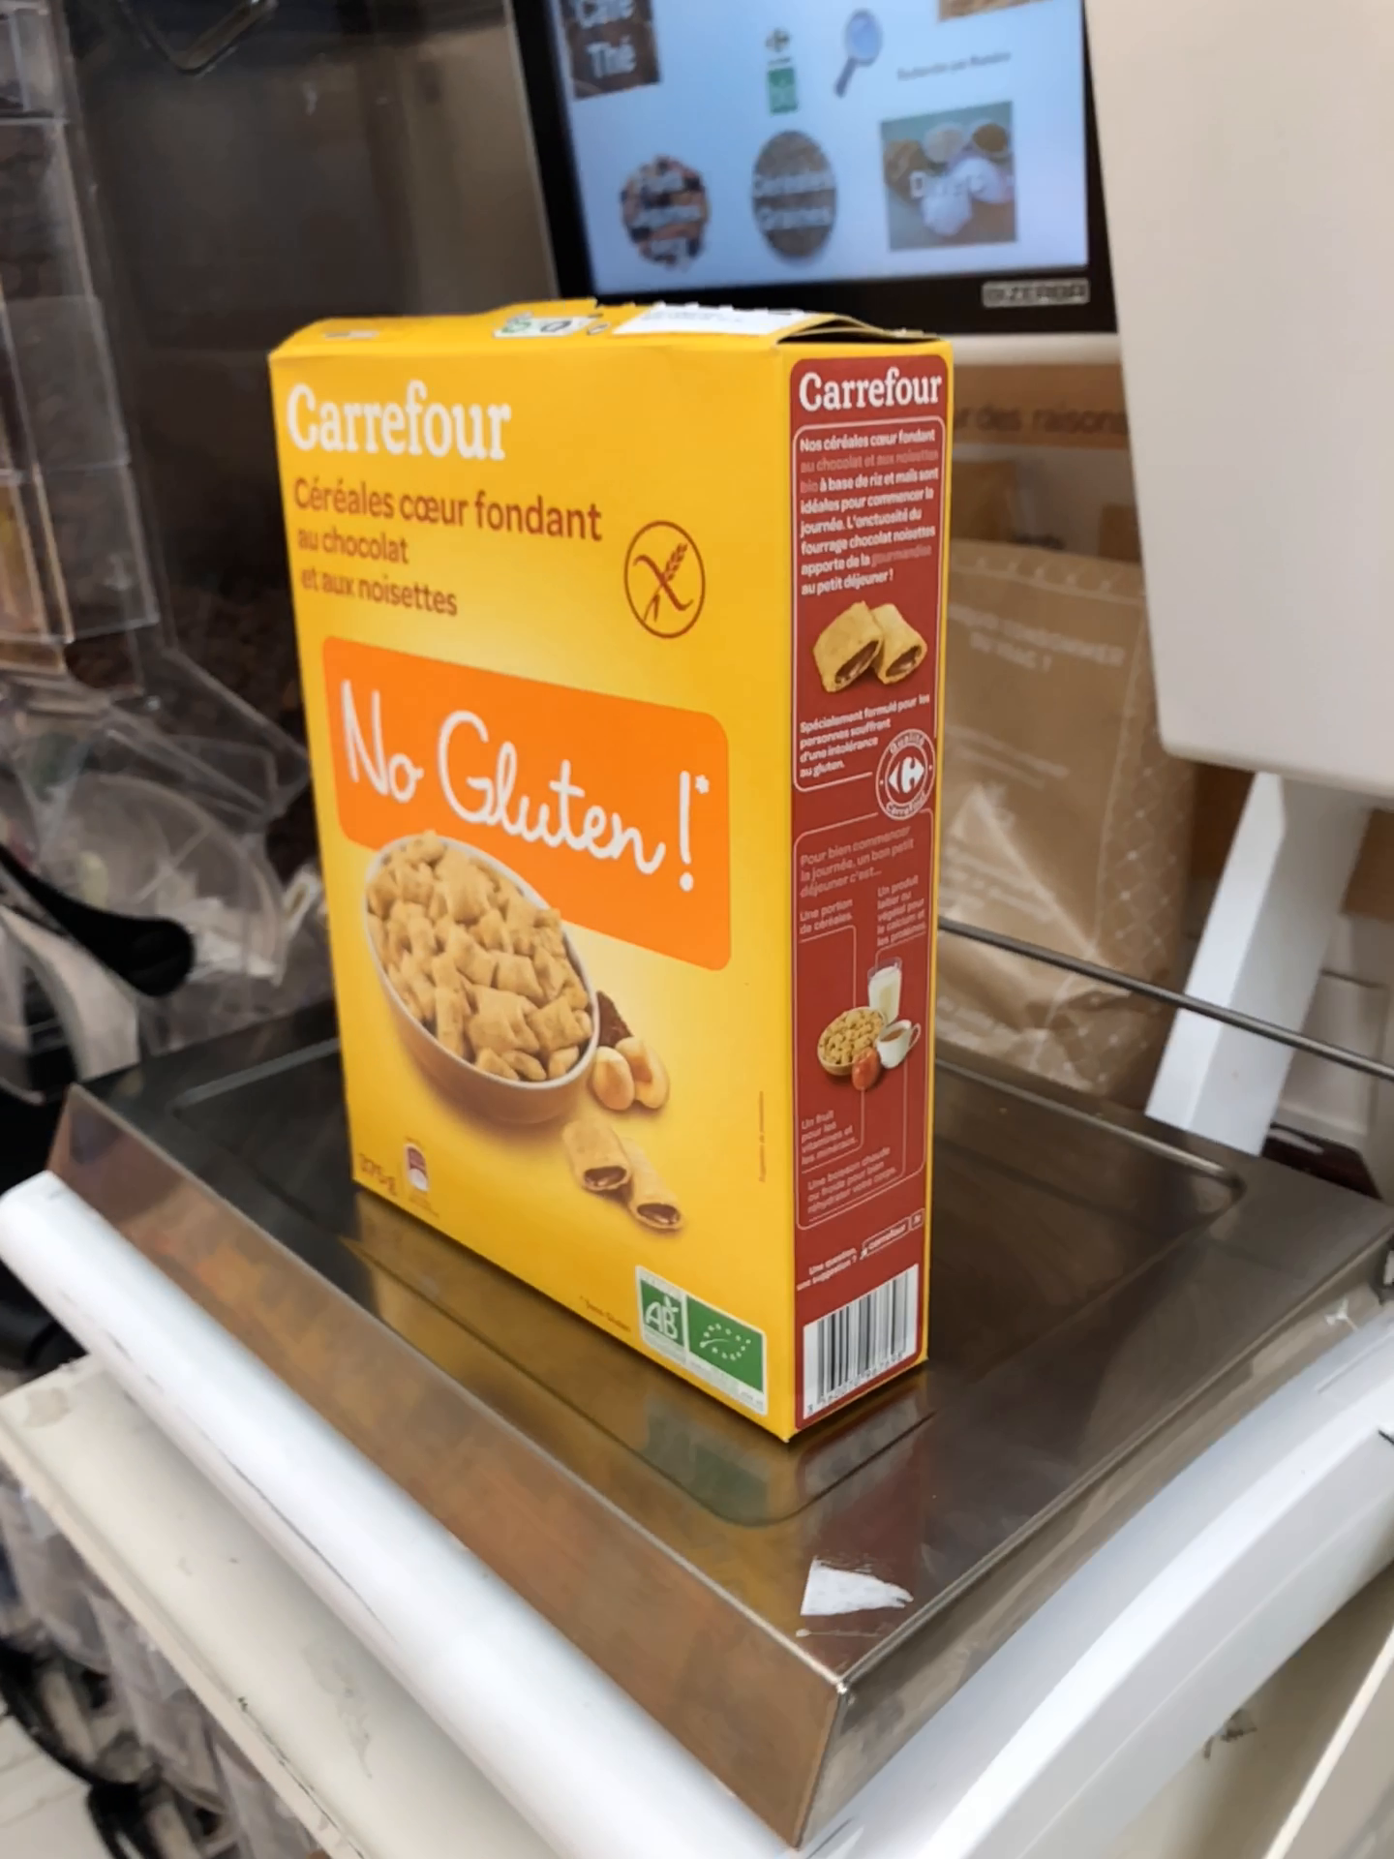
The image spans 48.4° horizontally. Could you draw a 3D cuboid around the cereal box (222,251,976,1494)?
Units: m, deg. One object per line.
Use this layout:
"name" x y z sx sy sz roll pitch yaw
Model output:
"cereal box" -0.033 -0.026 0.406 0.060 0.269 0.200 -19 27 -40
